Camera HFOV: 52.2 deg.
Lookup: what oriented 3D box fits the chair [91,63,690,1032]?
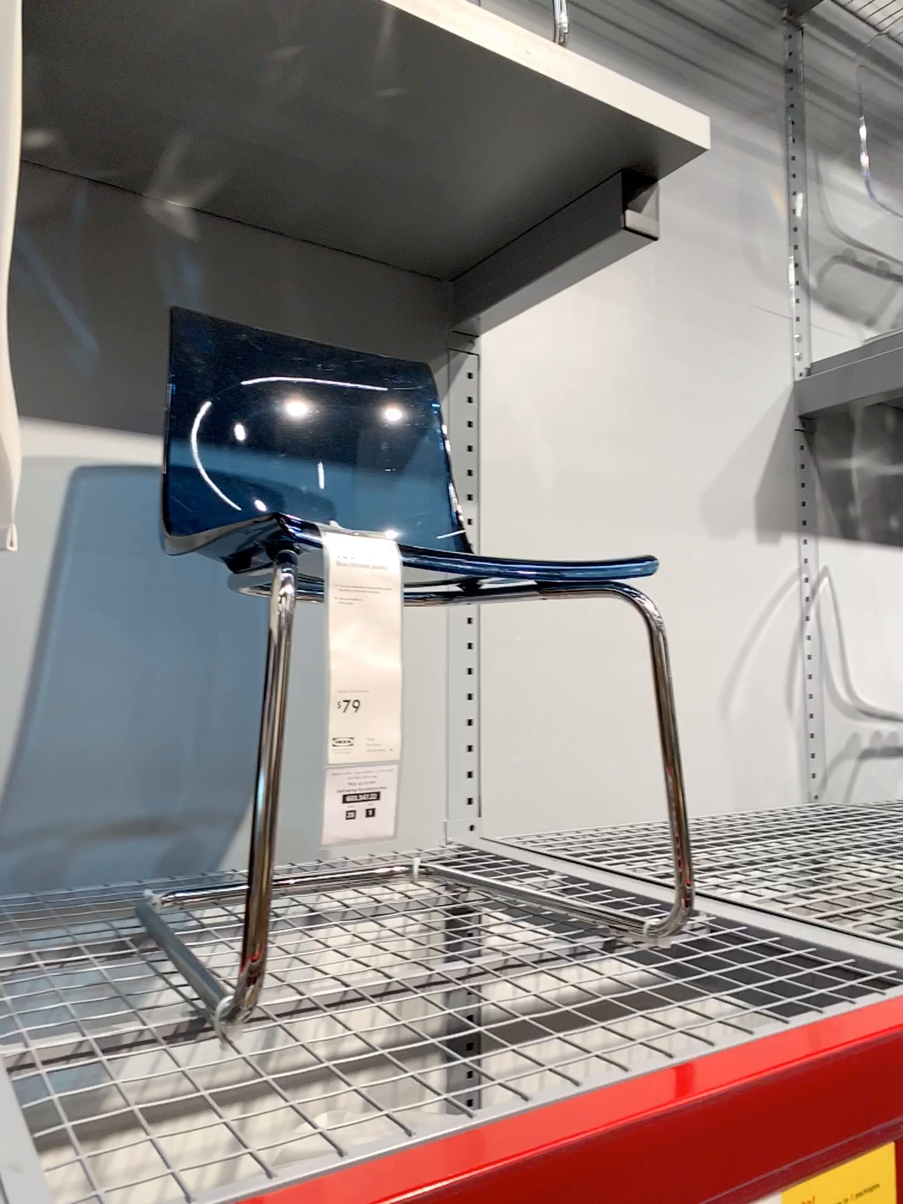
[{"bbox_3d":[-0.102,-0.036,1.162,0.530,0.841,0.549,4,-7,-31],"label":"chair"}]
